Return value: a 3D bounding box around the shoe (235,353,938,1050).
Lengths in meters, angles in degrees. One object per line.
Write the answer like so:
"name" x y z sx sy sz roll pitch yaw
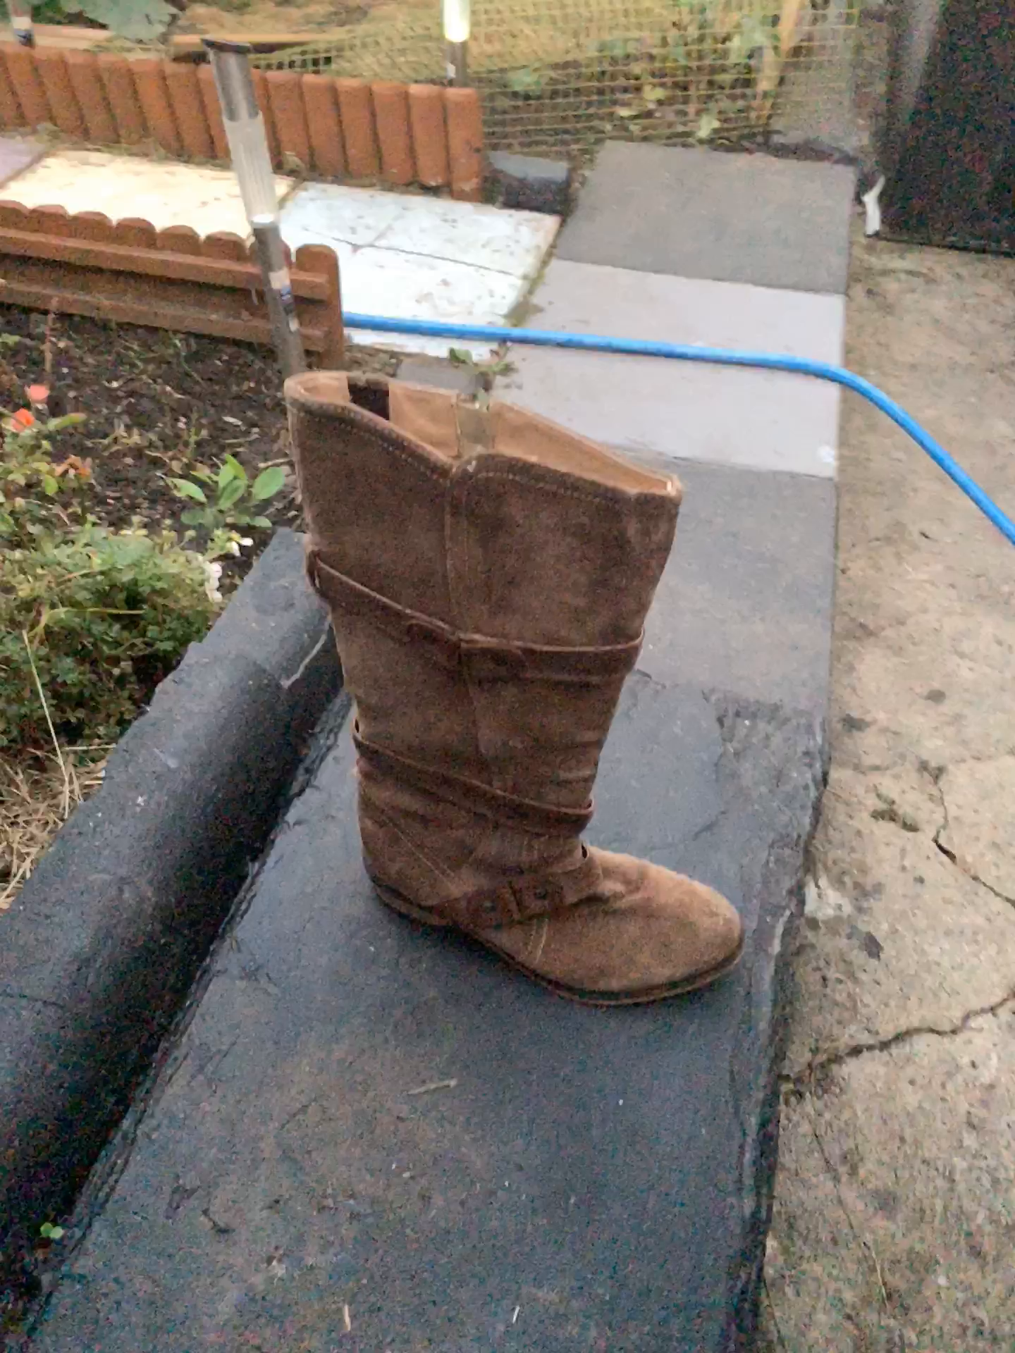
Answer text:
"shoe" 0.032 0.041 0.560 0.270 0.376 0.101 12 48 9
